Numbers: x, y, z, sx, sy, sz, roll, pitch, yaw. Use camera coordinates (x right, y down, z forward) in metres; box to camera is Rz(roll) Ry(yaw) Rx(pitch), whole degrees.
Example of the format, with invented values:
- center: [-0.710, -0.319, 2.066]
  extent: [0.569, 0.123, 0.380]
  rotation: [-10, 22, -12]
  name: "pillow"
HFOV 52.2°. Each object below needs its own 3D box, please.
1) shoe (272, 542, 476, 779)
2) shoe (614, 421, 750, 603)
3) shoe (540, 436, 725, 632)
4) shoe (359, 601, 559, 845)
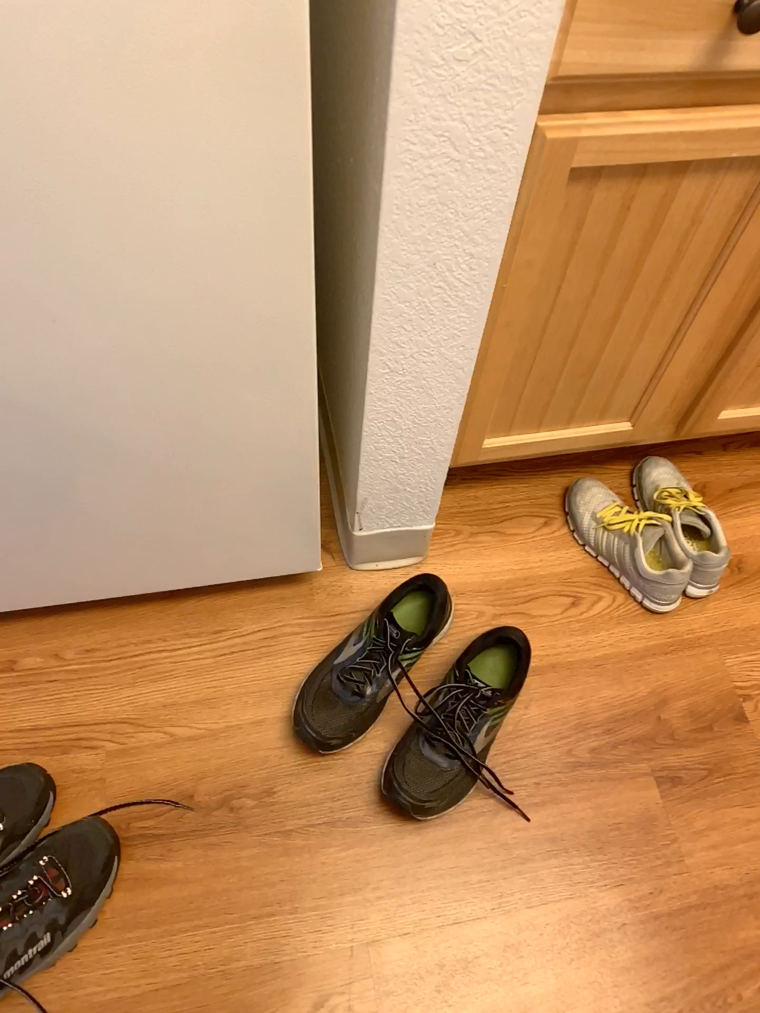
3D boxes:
- center: [-0.006, 0.202, 1.029]
  extent: [0.100, 0.140, 0.281]
  rotation: [36, 62, 17]
  name: "shoe"
- center: [0.487, 0.006, 1.277]
  extent: [0.100, 0.110, 0.271]
  rotation: [-8, 58, -3]
  name: "shoe"
- center: [0.377, 0.039, 1.191]
  extent: [0.100, 0.110, 0.271]
  rotation: [-29, 64, -14]
  name: "shoe"
- center: [0.103, 0.281, 1.020]
  extent: [0.110, 0.140, 0.271]
  rotation: [34, 61, 16]
  name: "shoe"
